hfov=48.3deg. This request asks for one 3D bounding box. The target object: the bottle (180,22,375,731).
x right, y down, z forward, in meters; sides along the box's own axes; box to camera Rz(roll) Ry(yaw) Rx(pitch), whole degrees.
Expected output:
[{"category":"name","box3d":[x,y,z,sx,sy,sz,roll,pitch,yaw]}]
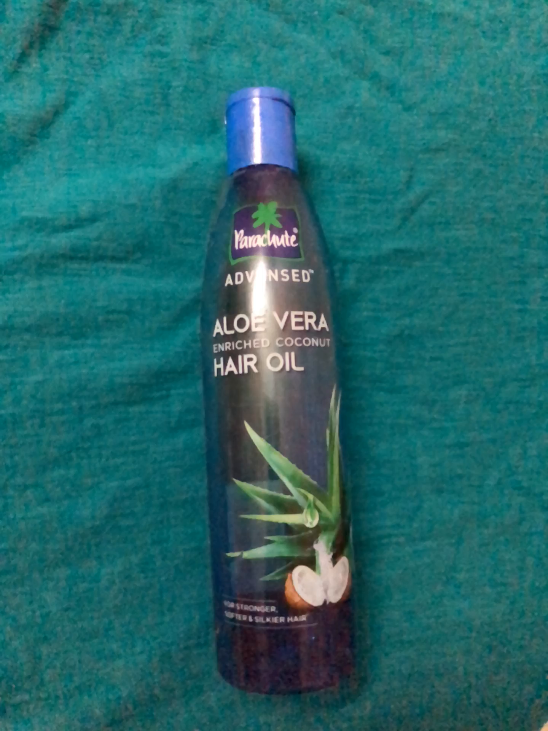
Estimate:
[{"category":"bottle","box3d":[-0.002,-0.002,0.202,0.050,0.040,0.210,-2,83,-4]}]
